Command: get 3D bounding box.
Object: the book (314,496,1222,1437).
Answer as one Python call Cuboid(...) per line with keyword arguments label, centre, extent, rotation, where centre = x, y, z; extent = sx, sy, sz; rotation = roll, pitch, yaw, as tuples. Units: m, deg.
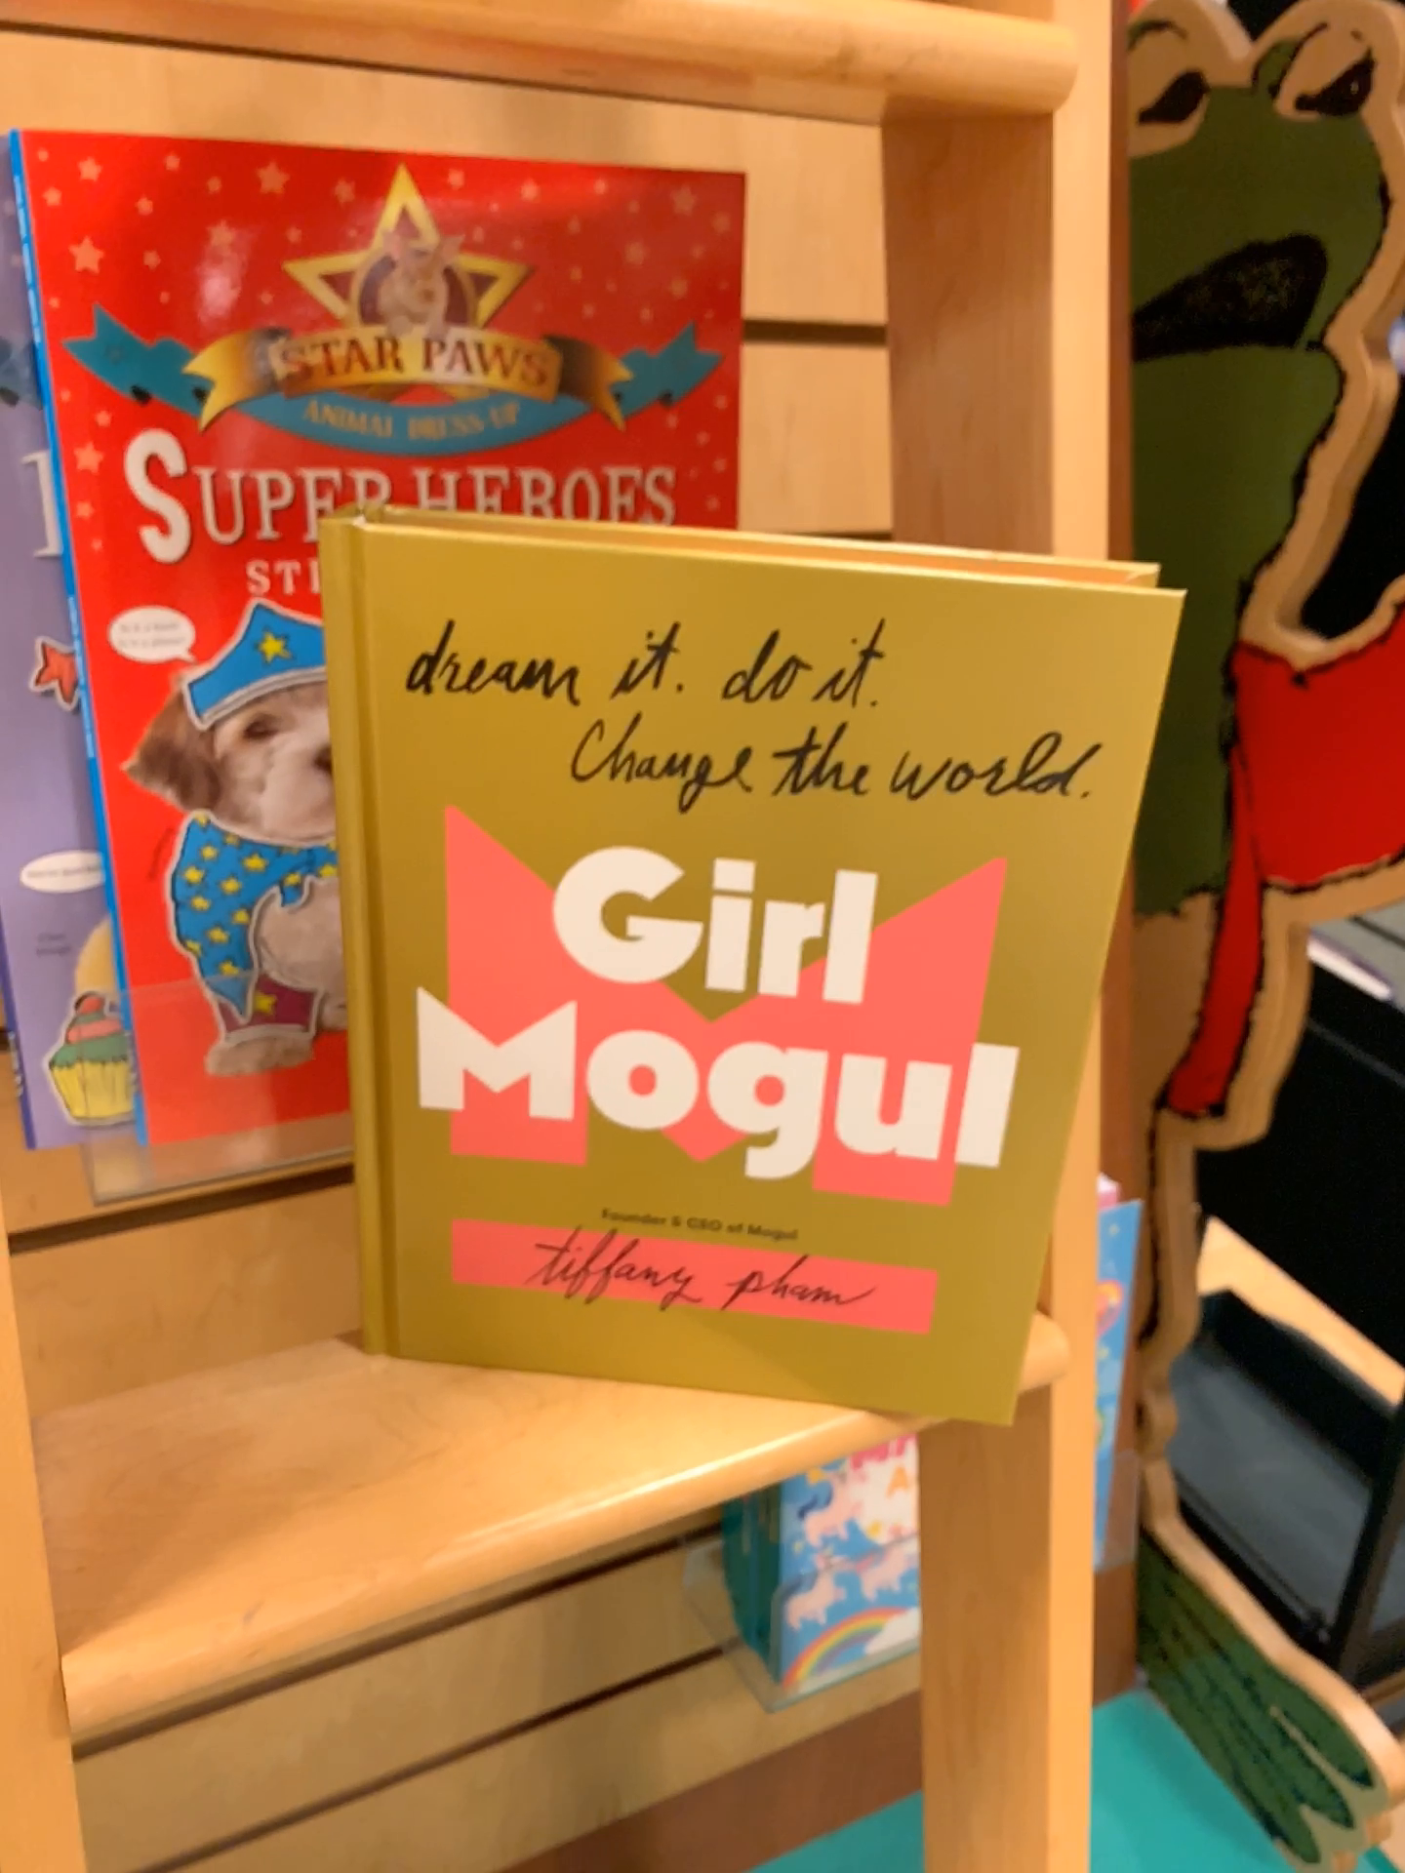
Cuboid(label="book", centre=(0.006, 0.017, 0.351), extent=(0.180, 0.219, 0.030), rotation=(5, 26, 2))
